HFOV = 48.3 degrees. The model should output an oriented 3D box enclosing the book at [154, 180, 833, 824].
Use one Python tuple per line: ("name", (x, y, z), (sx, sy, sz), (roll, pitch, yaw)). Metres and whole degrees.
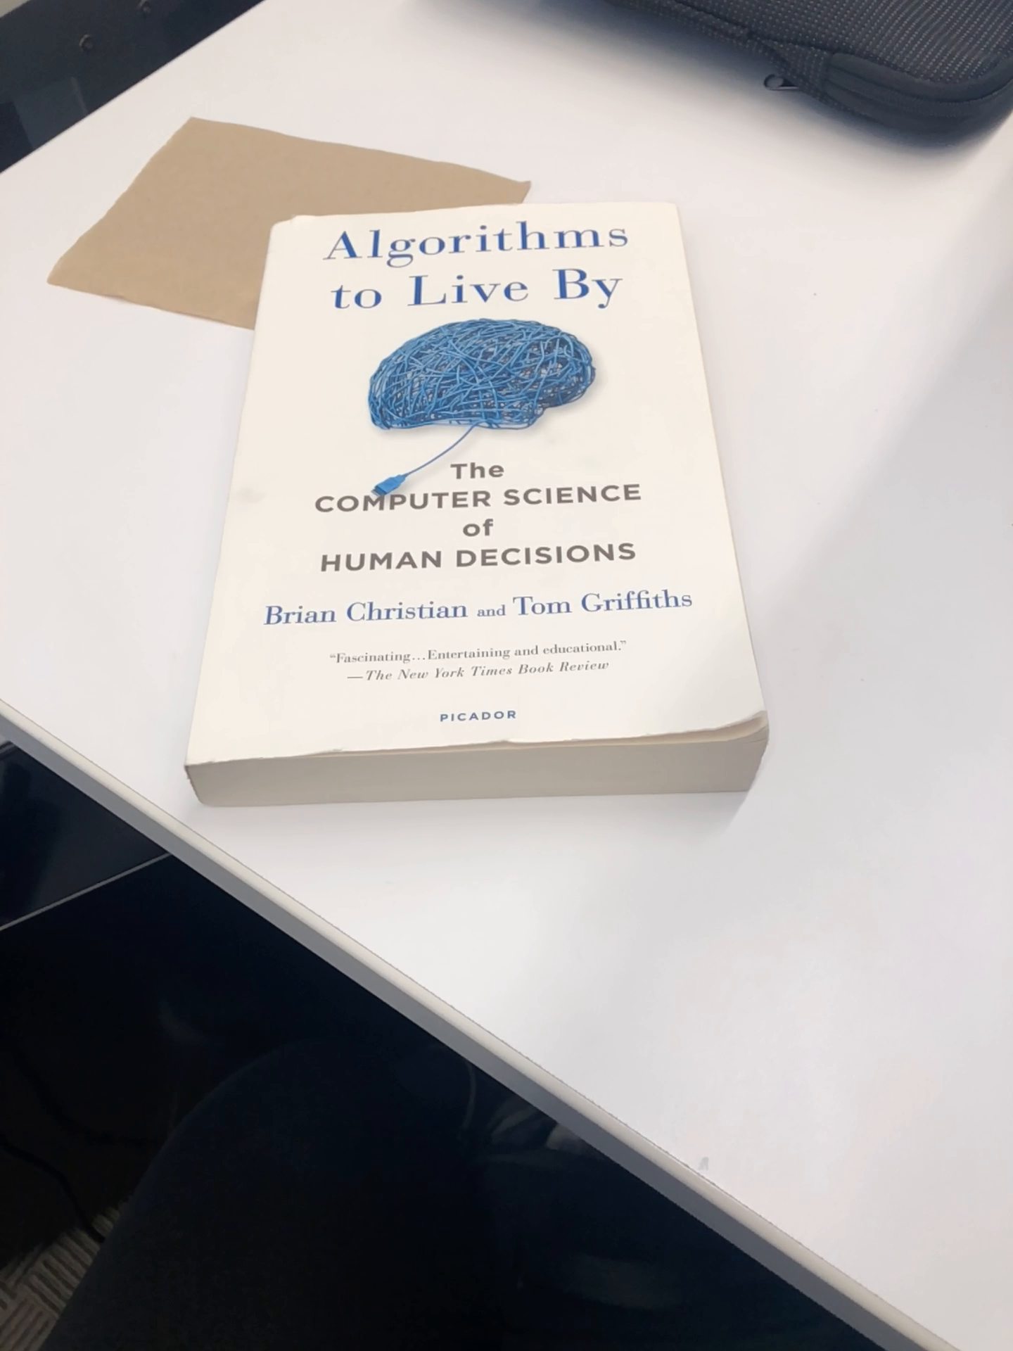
("book", (-0.005, -0.066, 0.345), (0.160, 0.040, 0.221), (-2, 55, 1))
